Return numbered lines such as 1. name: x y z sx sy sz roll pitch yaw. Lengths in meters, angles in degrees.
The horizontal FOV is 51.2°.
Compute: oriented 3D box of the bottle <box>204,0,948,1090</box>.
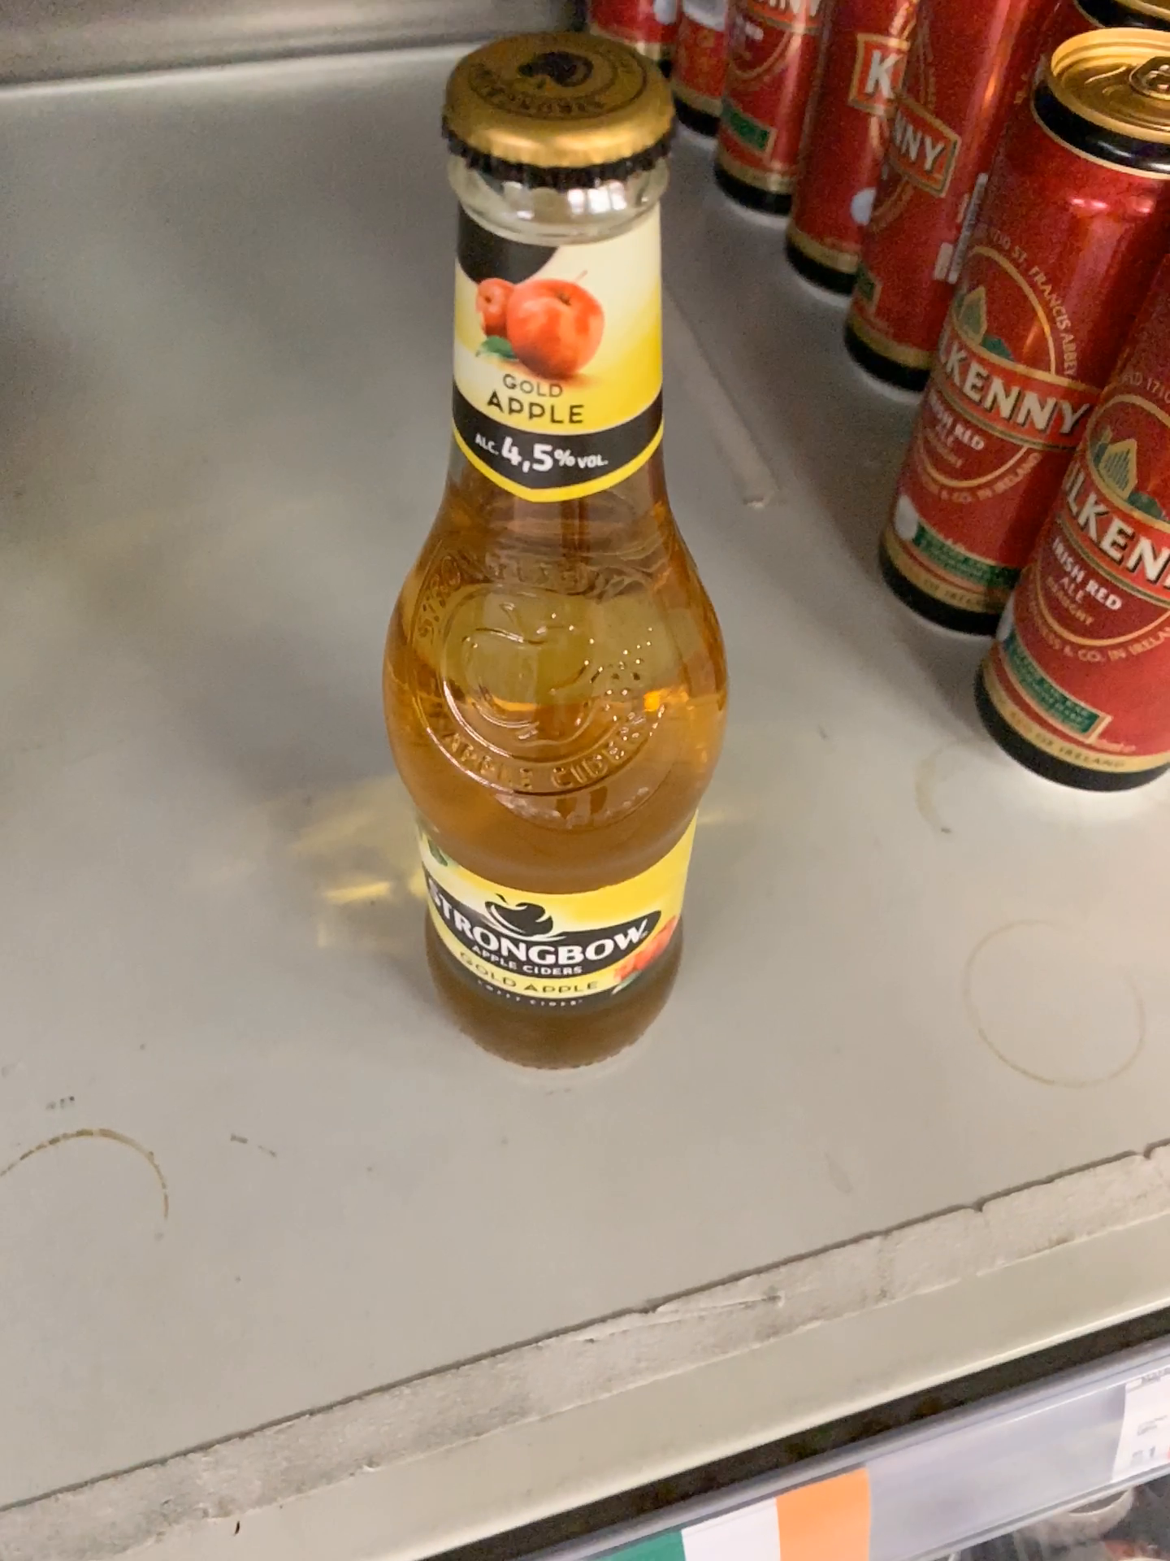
1. bottle: 0.000 -0.030 0.254 0.080 0.239 0.080 2 53 -2
